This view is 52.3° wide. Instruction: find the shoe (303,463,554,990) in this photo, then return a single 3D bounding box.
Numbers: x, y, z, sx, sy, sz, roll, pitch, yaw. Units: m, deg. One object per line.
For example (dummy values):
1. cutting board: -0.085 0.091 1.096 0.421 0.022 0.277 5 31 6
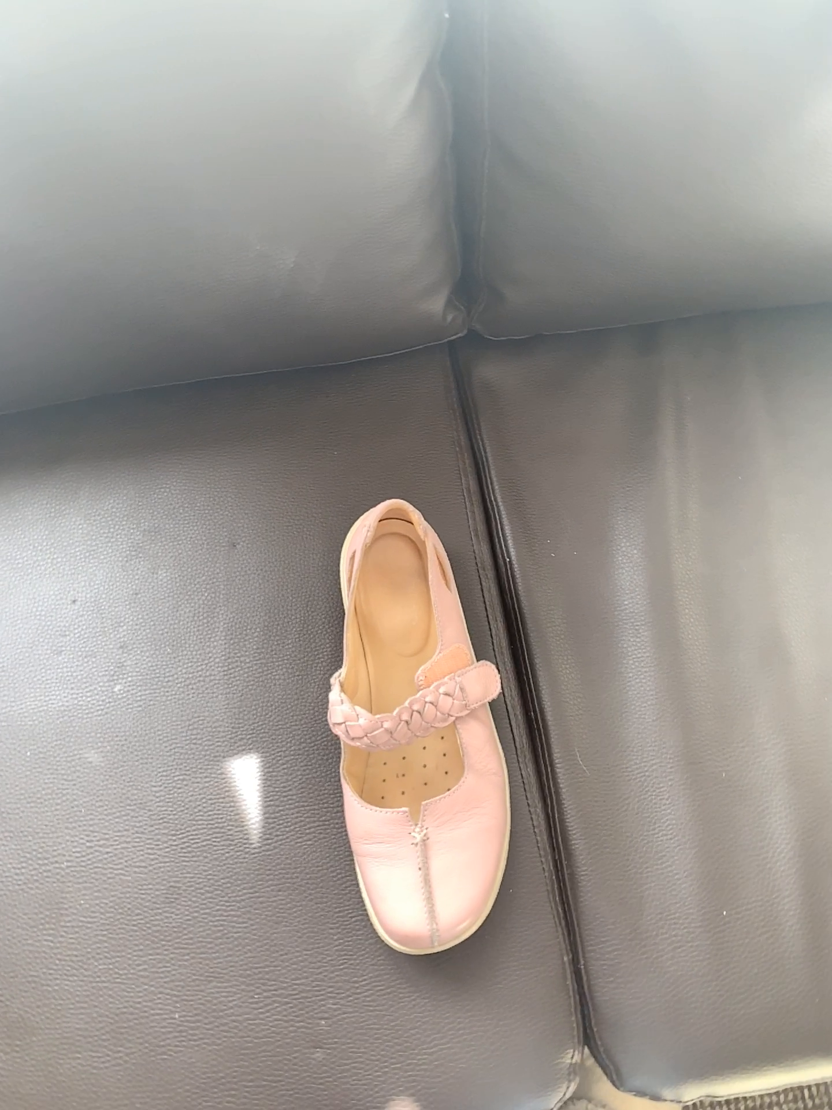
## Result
1. shoe: 0.001 0.091 0.487 0.104 0.100 0.261 -5 72 -2
